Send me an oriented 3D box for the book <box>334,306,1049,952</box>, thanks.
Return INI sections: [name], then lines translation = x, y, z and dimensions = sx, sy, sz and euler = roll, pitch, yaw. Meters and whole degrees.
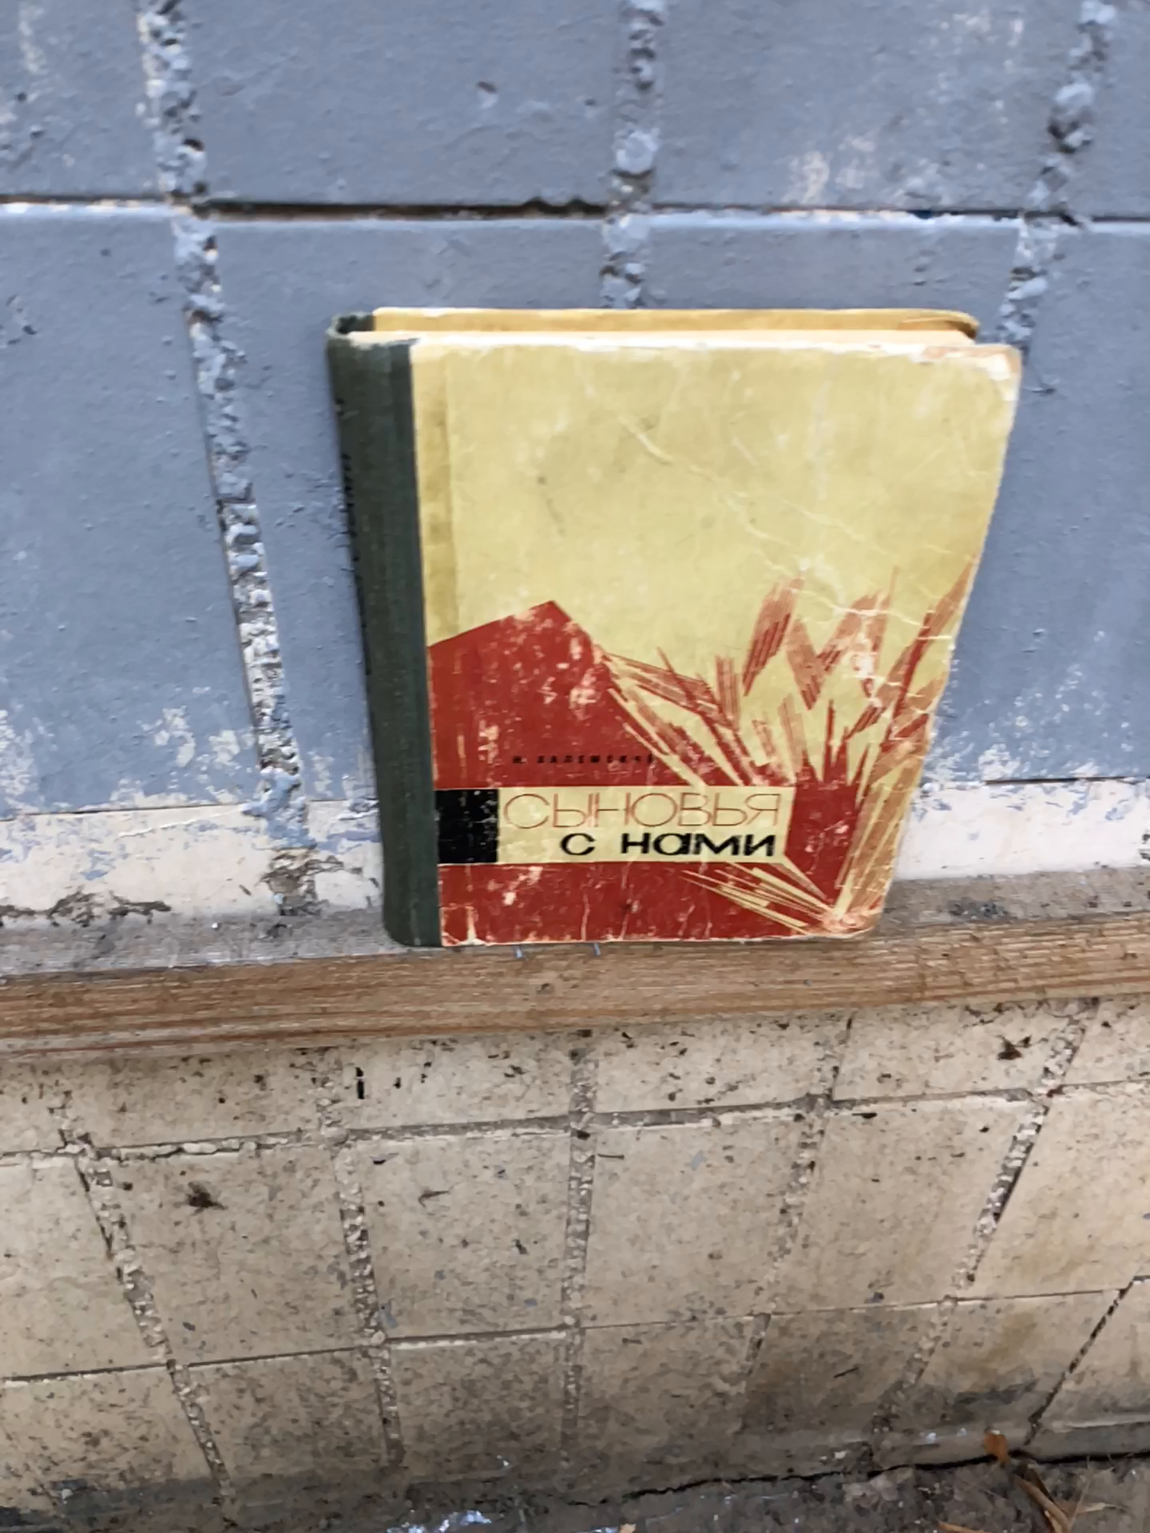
[book]
translation = 0.020, -0.023, 0.291
dimensions = 0.135, 0.156, 0.020
euler = -1, 37, -5
